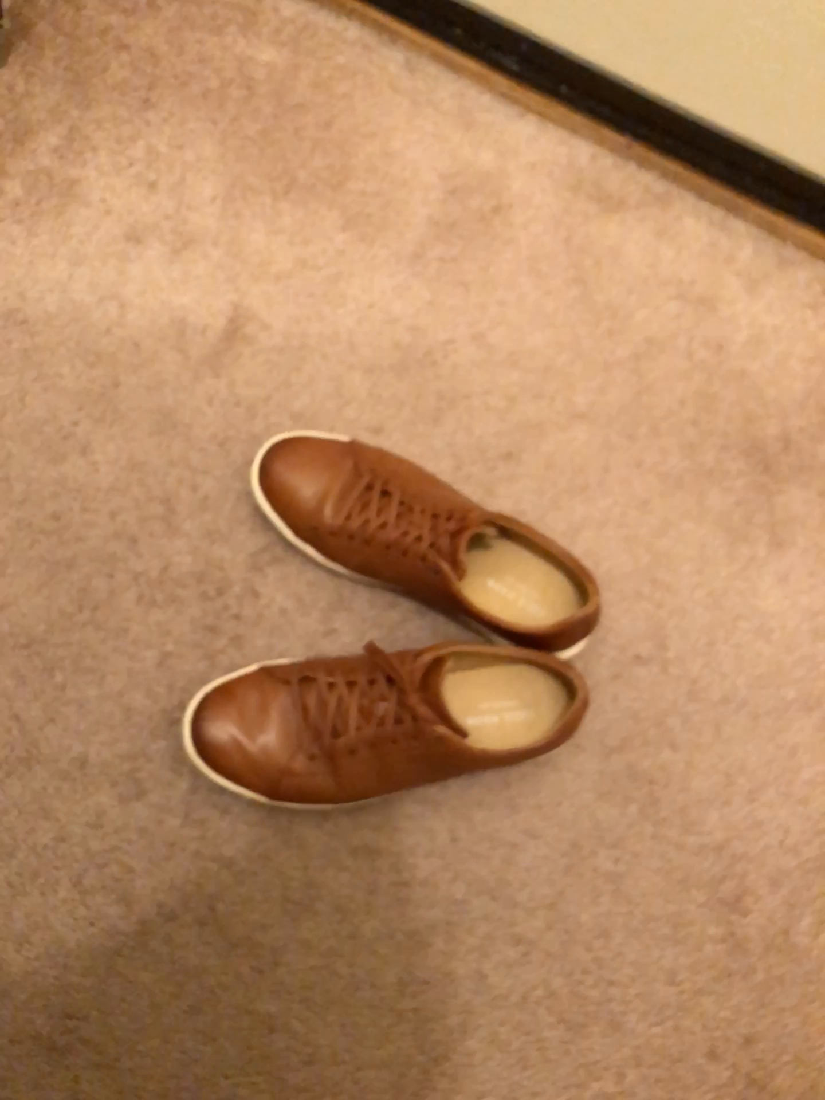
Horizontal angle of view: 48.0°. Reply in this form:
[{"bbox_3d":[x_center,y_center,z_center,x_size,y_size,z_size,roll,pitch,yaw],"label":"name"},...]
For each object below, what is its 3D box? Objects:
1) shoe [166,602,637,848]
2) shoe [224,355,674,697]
[{"bbox_3d":[-0.011,0.120,0.633,0.285,0.100,0.117,-6,74,-8],"label":"shoe"},{"bbox_3d":[0.023,-0.013,0.678,0.285,0.103,0.117,24,72,1],"label":"shoe"}]
